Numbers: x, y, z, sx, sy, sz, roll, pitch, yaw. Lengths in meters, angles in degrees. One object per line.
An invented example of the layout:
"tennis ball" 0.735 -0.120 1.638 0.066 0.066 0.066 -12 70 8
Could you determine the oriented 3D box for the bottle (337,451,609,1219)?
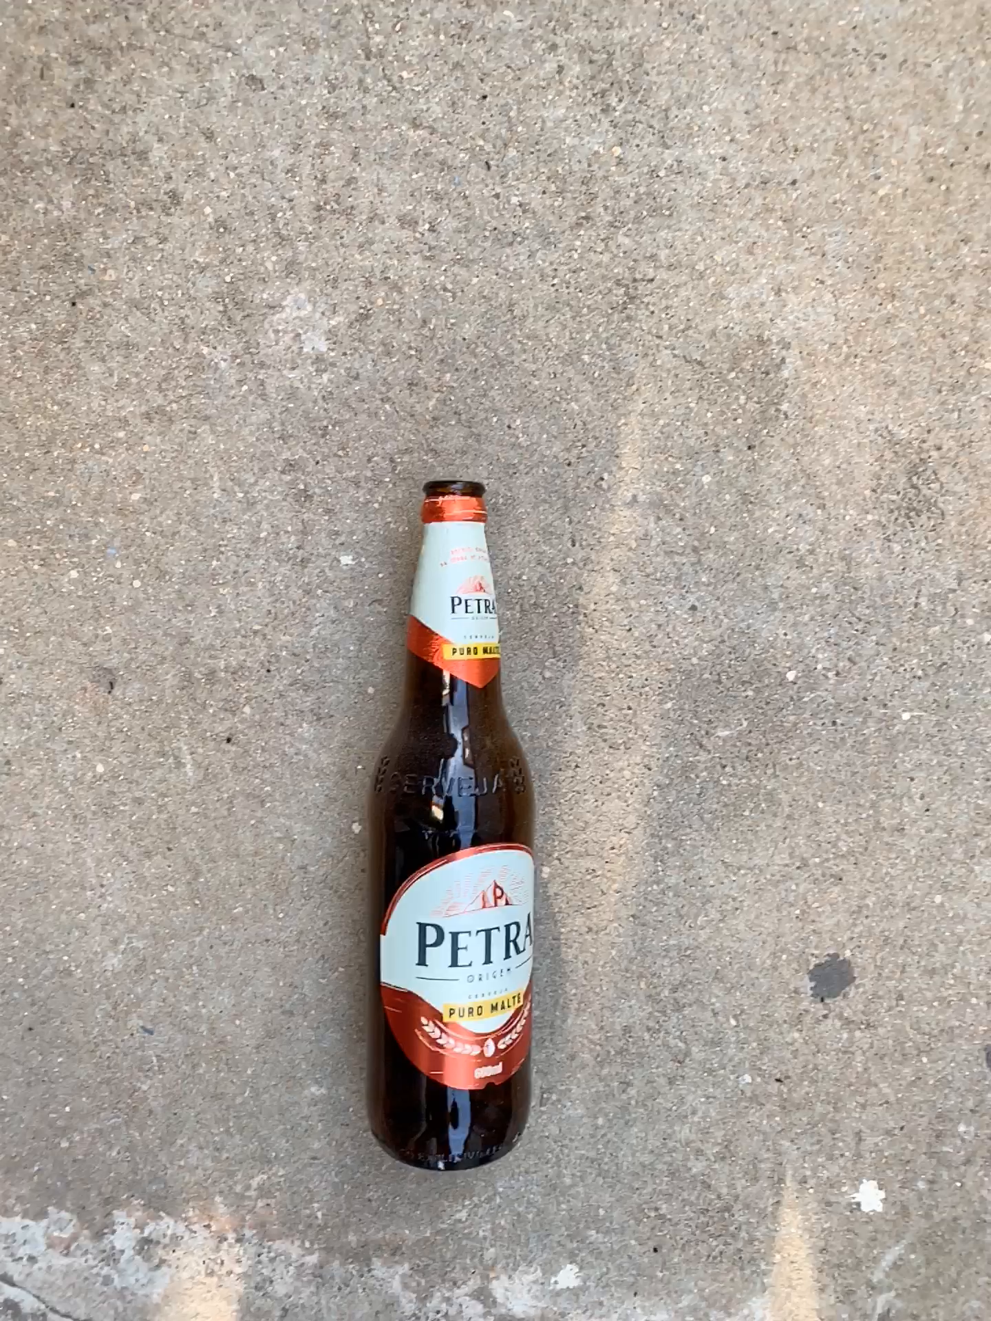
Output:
"bottle" -0.010 0.062 0.409 0.080 0.070 0.270 1 90 -33
